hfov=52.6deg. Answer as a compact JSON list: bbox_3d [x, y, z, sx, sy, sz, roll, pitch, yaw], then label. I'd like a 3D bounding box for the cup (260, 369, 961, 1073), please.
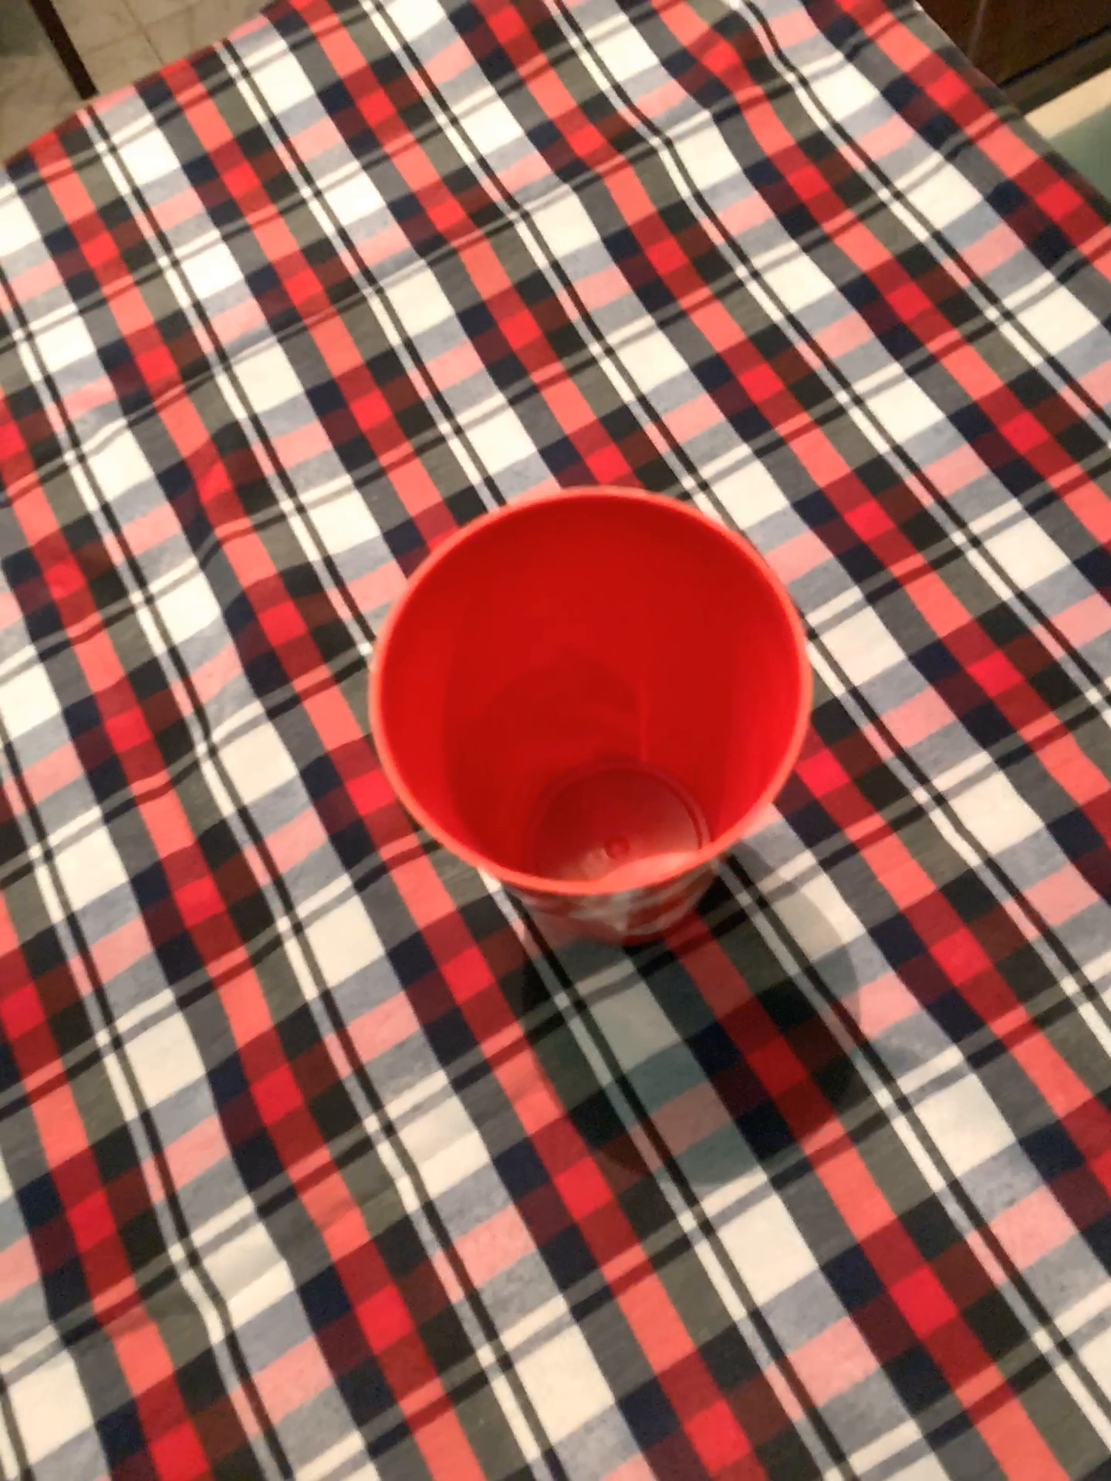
[{"bbox_3d":[0.015,0.006,0.287,0.100,0.130,0.100,-2,69,5],"label":"cup"}]
